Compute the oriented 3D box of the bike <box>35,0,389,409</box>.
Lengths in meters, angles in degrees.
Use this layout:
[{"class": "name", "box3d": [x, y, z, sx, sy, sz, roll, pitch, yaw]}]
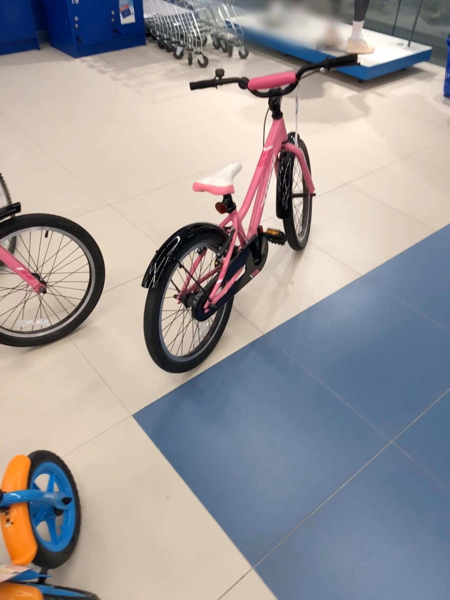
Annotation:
[{"class": "bike", "box3d": [0.062, -0.473, 1.799, 0.556, 0.834, 1.302, 19, 47, 20]}]
